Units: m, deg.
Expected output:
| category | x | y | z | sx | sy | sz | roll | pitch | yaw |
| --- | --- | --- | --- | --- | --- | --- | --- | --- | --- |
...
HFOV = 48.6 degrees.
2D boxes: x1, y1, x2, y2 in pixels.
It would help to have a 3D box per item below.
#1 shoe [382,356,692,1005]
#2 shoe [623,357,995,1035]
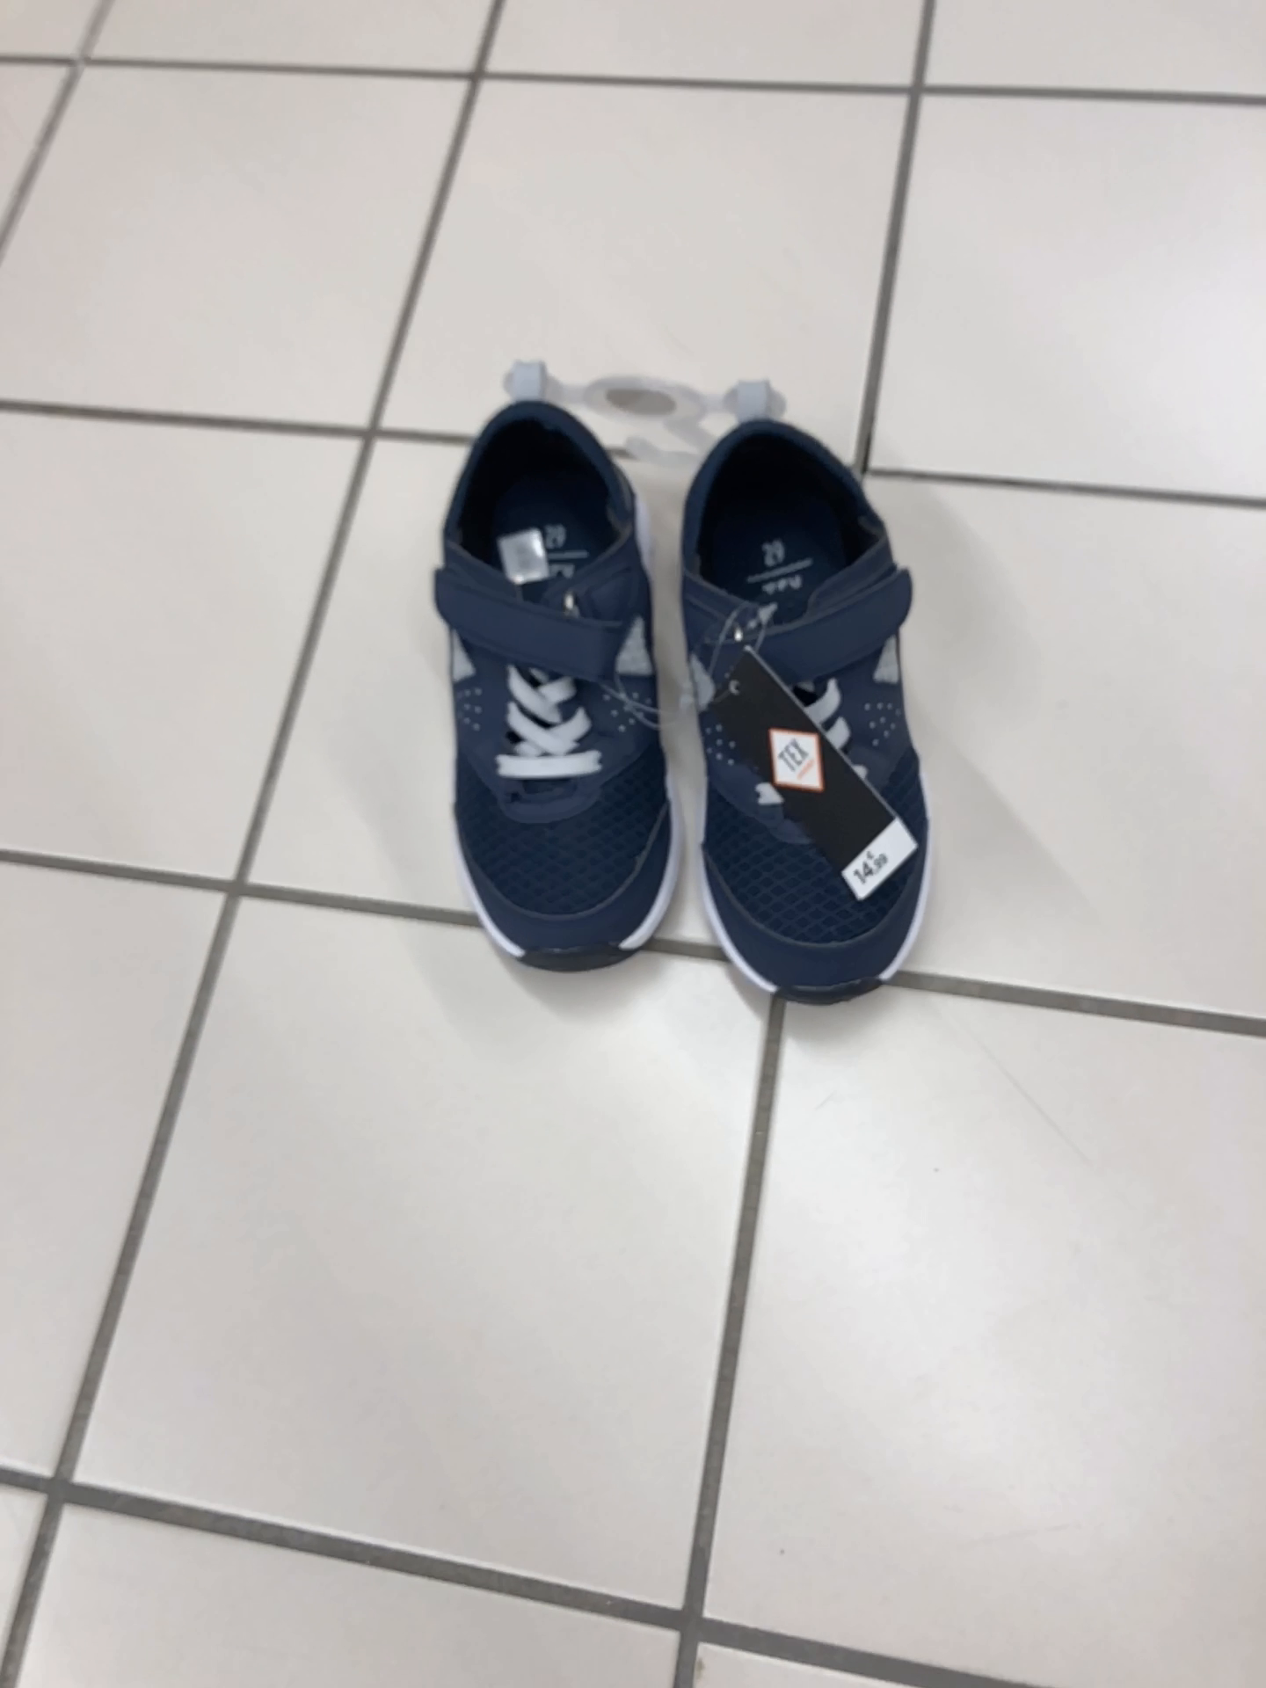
| category | x | y | z | sx | sy | sz | roll | pitch | yaw |
| --- | --- | --- | --- | --- | --- | --- | --- | --- | --- |
| shoe | -0.033 | -0.055 | 0.479 | 0.083 | 0.084 | 0.196 | -6 | 68 | 4 |
| shoe | 0.052 | -0.048 | 0.463 | 0.081 | 0.081 | 0.198 | -9 | 67 | 3 |
